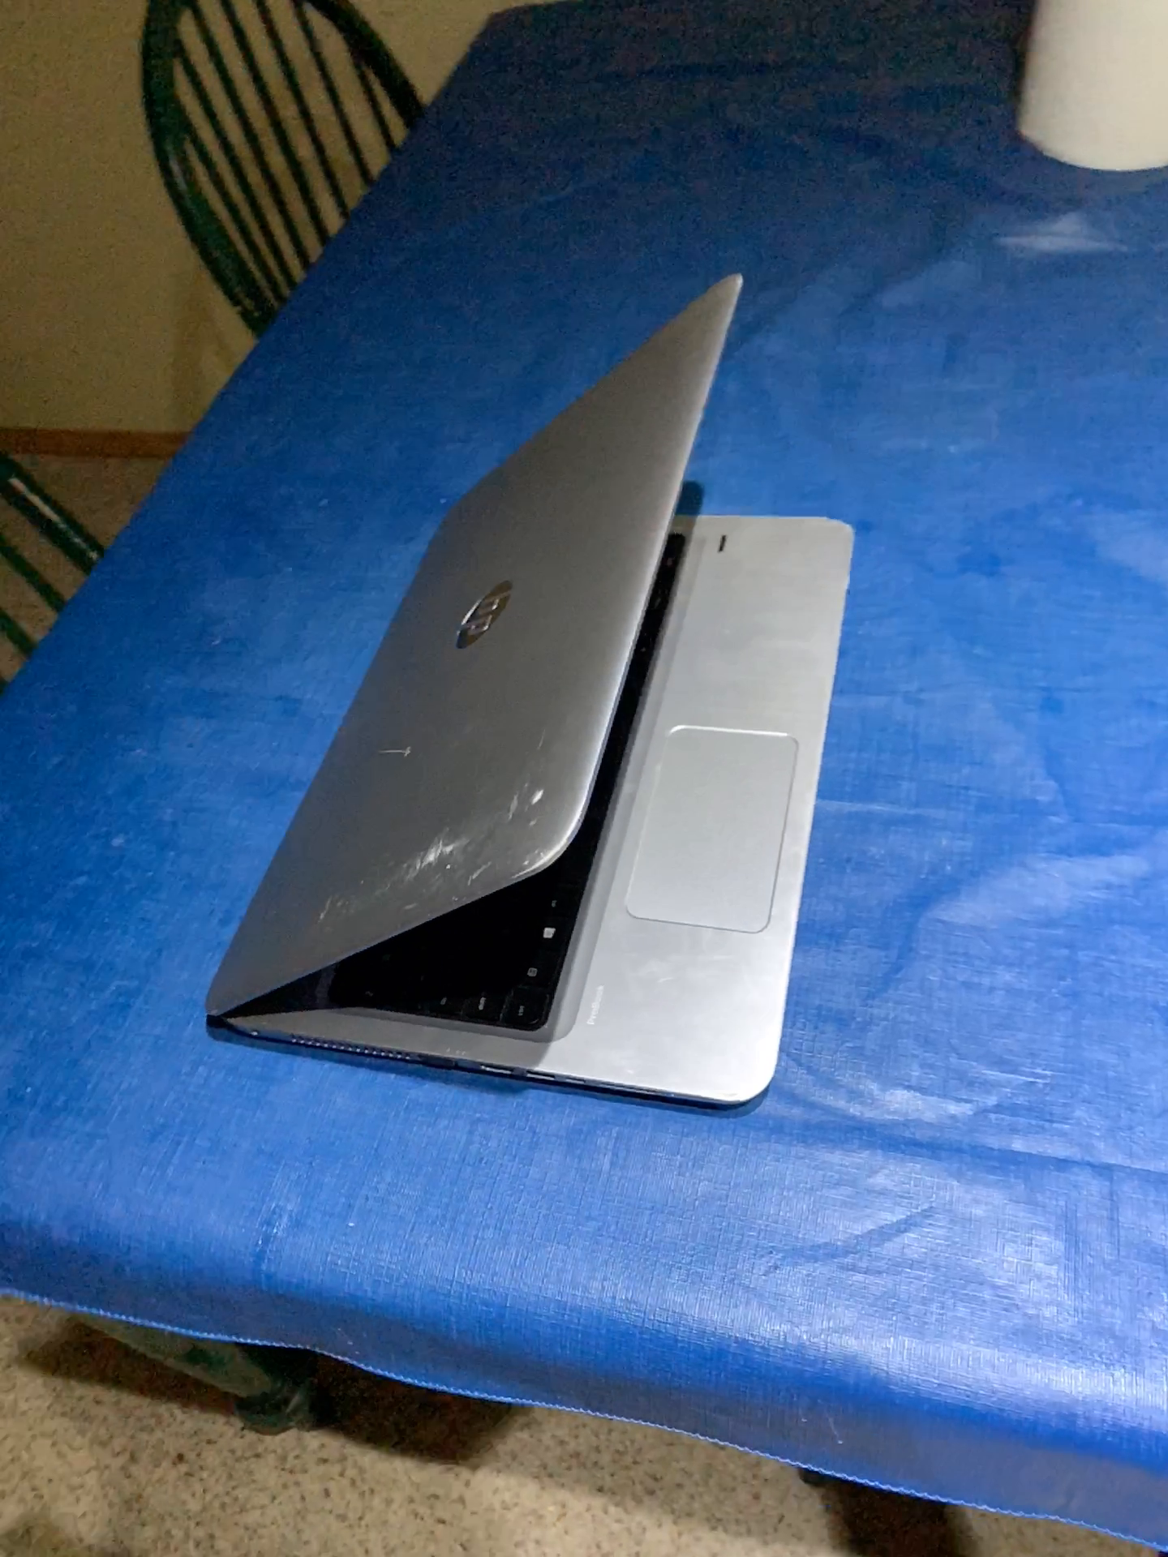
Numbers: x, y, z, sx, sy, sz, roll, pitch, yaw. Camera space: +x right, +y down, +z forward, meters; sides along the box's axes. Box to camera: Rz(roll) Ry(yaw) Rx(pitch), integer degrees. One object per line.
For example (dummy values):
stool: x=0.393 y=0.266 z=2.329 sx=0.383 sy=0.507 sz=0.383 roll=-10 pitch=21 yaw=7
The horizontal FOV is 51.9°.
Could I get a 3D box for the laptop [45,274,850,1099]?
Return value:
laptop: x=-0.021 y=-0.071 z=0.576 sx=0.253 sy=0.156 sz=0.368 roll=5 pitch=51 yaw=15
